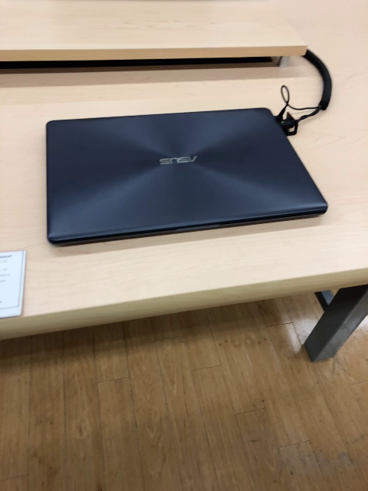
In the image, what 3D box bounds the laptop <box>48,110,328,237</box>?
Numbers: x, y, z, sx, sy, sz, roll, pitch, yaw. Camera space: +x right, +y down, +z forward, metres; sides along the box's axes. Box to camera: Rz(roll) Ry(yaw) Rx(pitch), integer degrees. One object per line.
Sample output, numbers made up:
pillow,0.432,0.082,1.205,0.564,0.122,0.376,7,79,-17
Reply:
laptop,-0.008,-0.117,0.564,0.345,0.002,0.229,-7,51,-11
